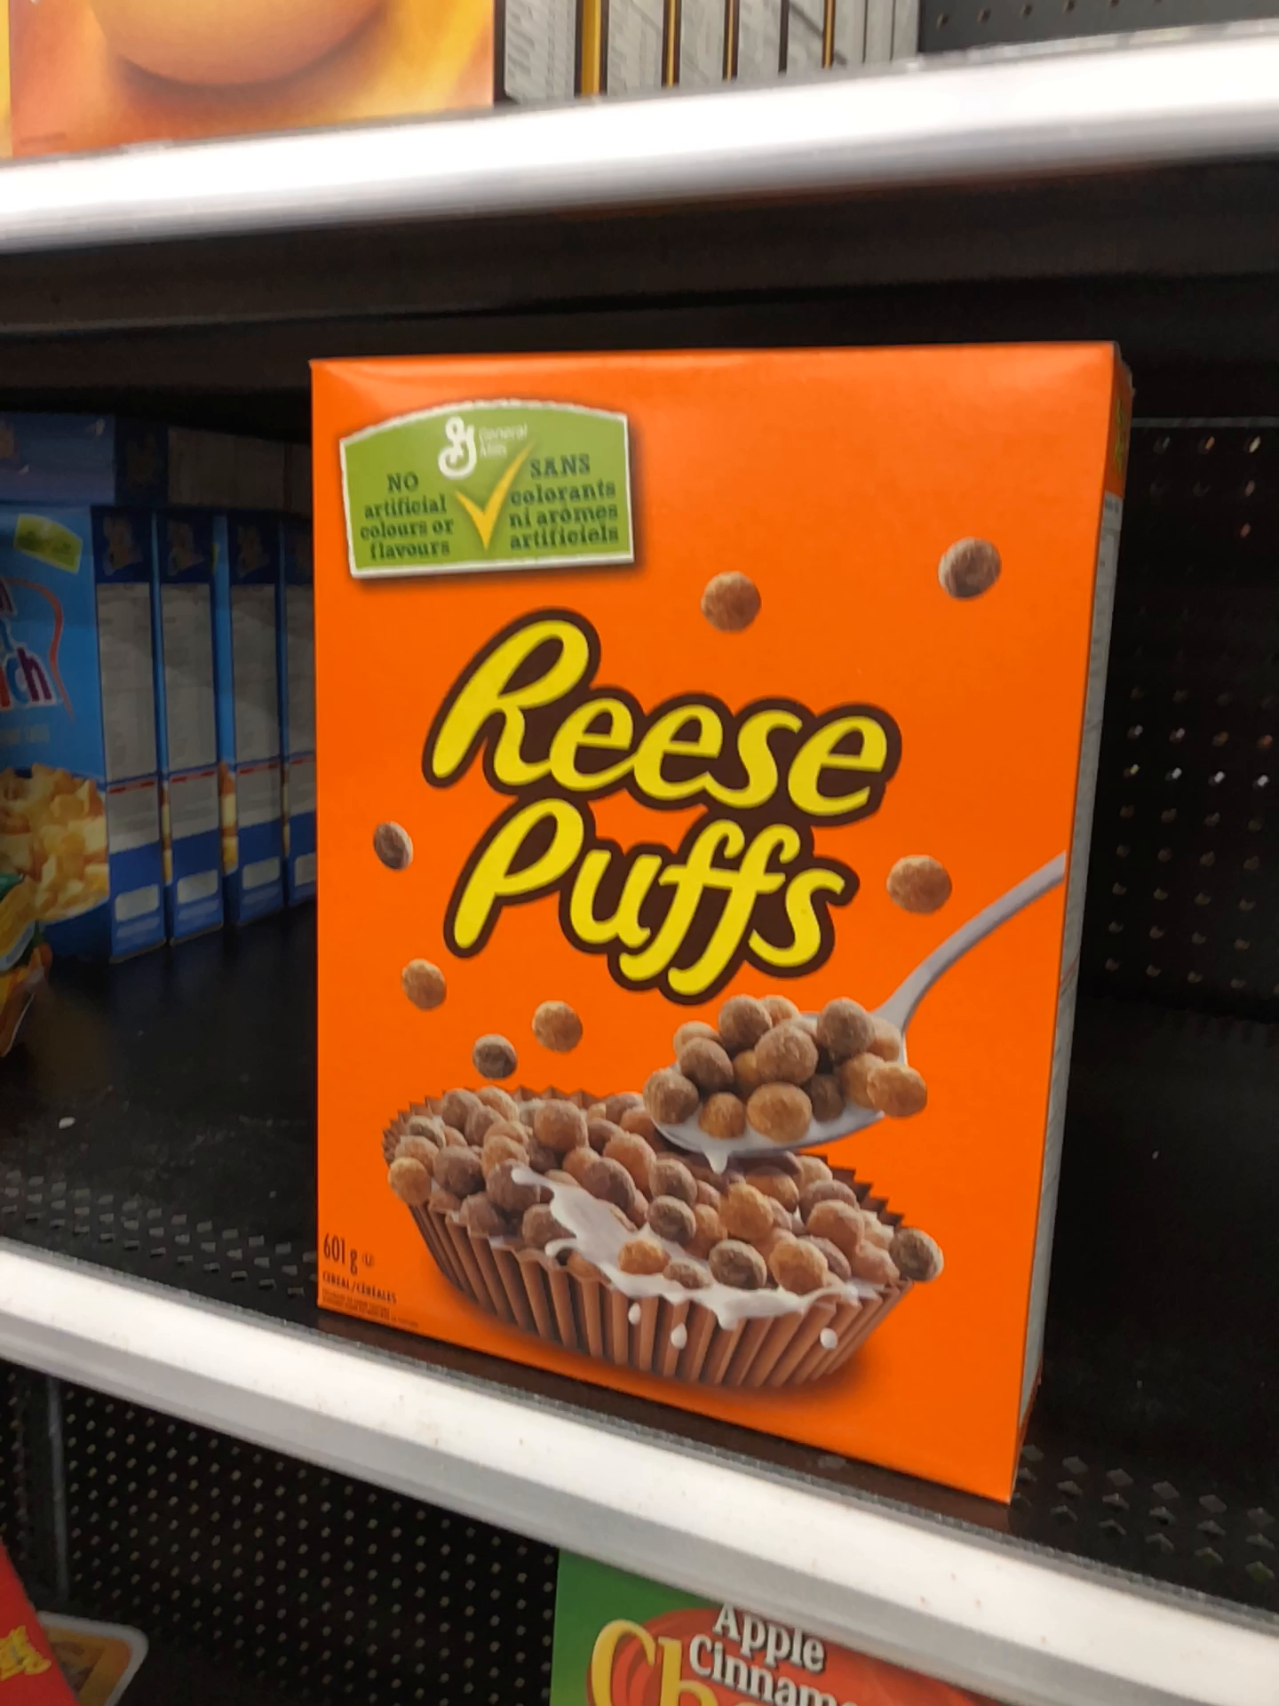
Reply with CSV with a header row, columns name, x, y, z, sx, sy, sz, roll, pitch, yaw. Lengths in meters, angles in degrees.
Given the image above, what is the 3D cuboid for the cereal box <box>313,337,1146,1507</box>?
name,x,y,z,sx,sy,sz,roll,pitch,yaw
cereal box,0.018,0.012,0.452,0.240,0.319,0.070,6,11,22
